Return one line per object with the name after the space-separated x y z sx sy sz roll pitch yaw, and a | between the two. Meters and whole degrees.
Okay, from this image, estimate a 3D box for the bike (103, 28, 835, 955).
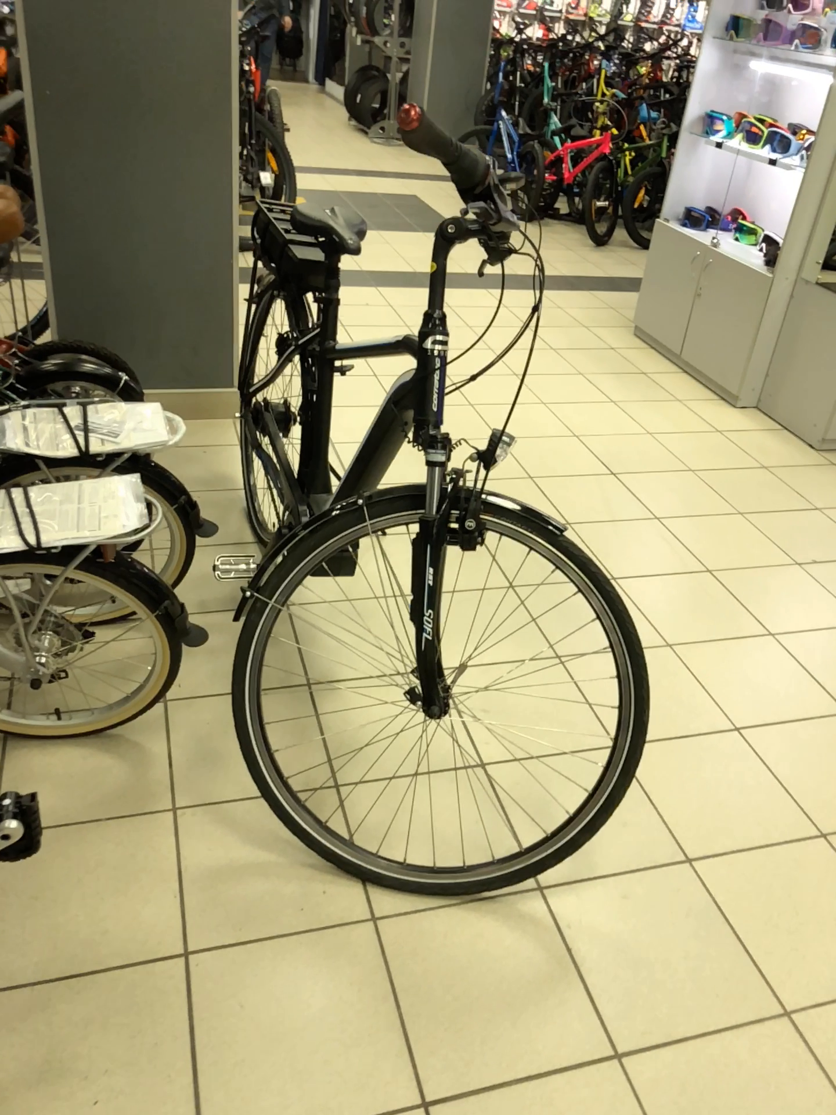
-0.047 -0.314 1.957 0.697 1.176 1.617 -12 37 -29 | bike
